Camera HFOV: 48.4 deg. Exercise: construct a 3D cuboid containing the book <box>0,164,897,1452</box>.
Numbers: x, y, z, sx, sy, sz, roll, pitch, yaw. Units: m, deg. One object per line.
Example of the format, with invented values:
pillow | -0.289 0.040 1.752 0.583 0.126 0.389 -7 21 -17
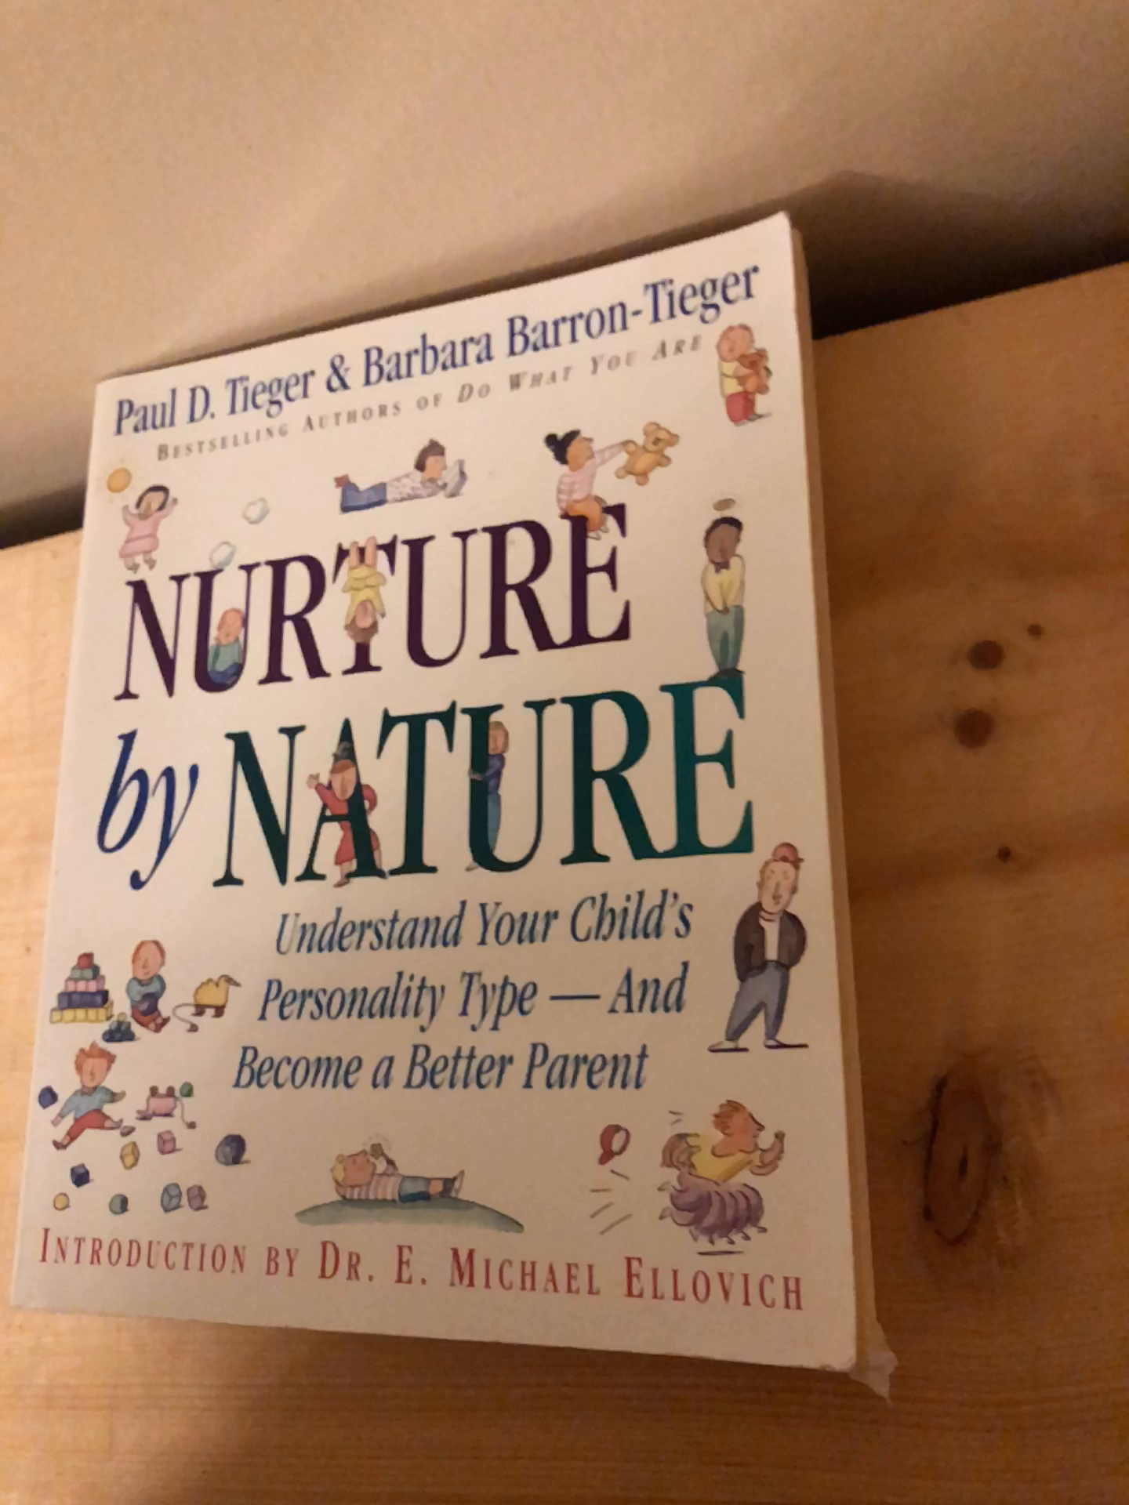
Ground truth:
book | -0.036 0.007 0.290 0.200 0.040 0.250 -5 74 19
